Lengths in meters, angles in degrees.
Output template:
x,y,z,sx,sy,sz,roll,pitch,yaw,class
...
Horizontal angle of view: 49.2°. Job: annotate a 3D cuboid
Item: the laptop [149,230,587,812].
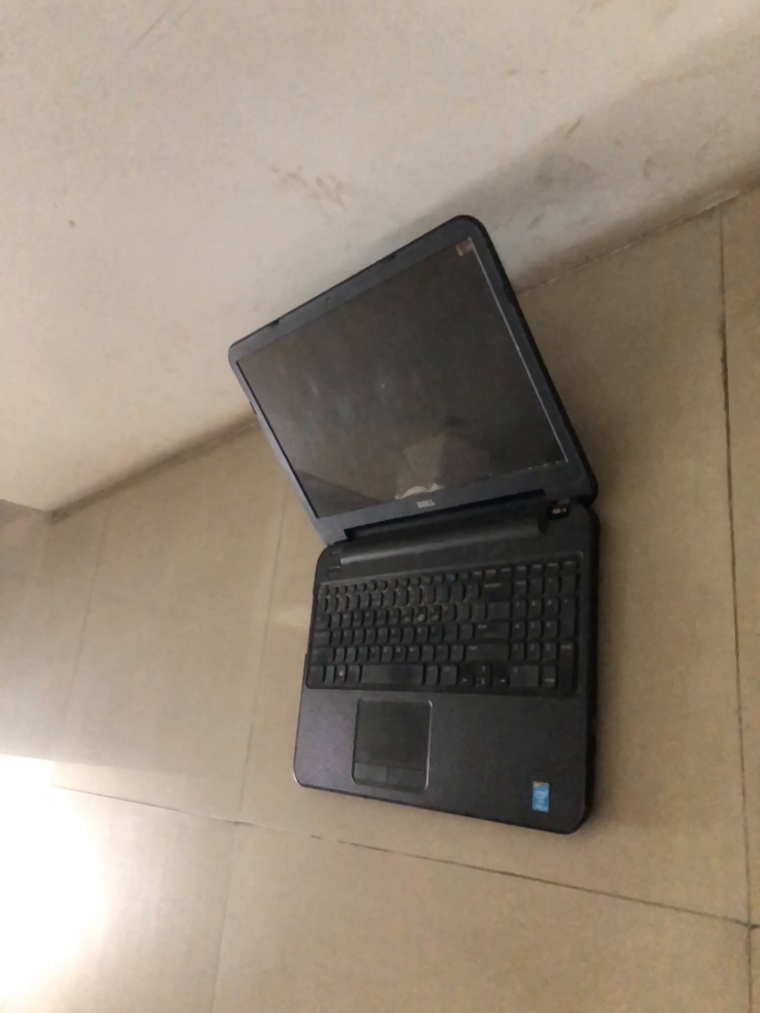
x,y,z,sx,sy,sz,roll,pitch,yaw,class
-0.011,0.029,0.734,0.324,0.165,0.409,-14,63,47,laptop
